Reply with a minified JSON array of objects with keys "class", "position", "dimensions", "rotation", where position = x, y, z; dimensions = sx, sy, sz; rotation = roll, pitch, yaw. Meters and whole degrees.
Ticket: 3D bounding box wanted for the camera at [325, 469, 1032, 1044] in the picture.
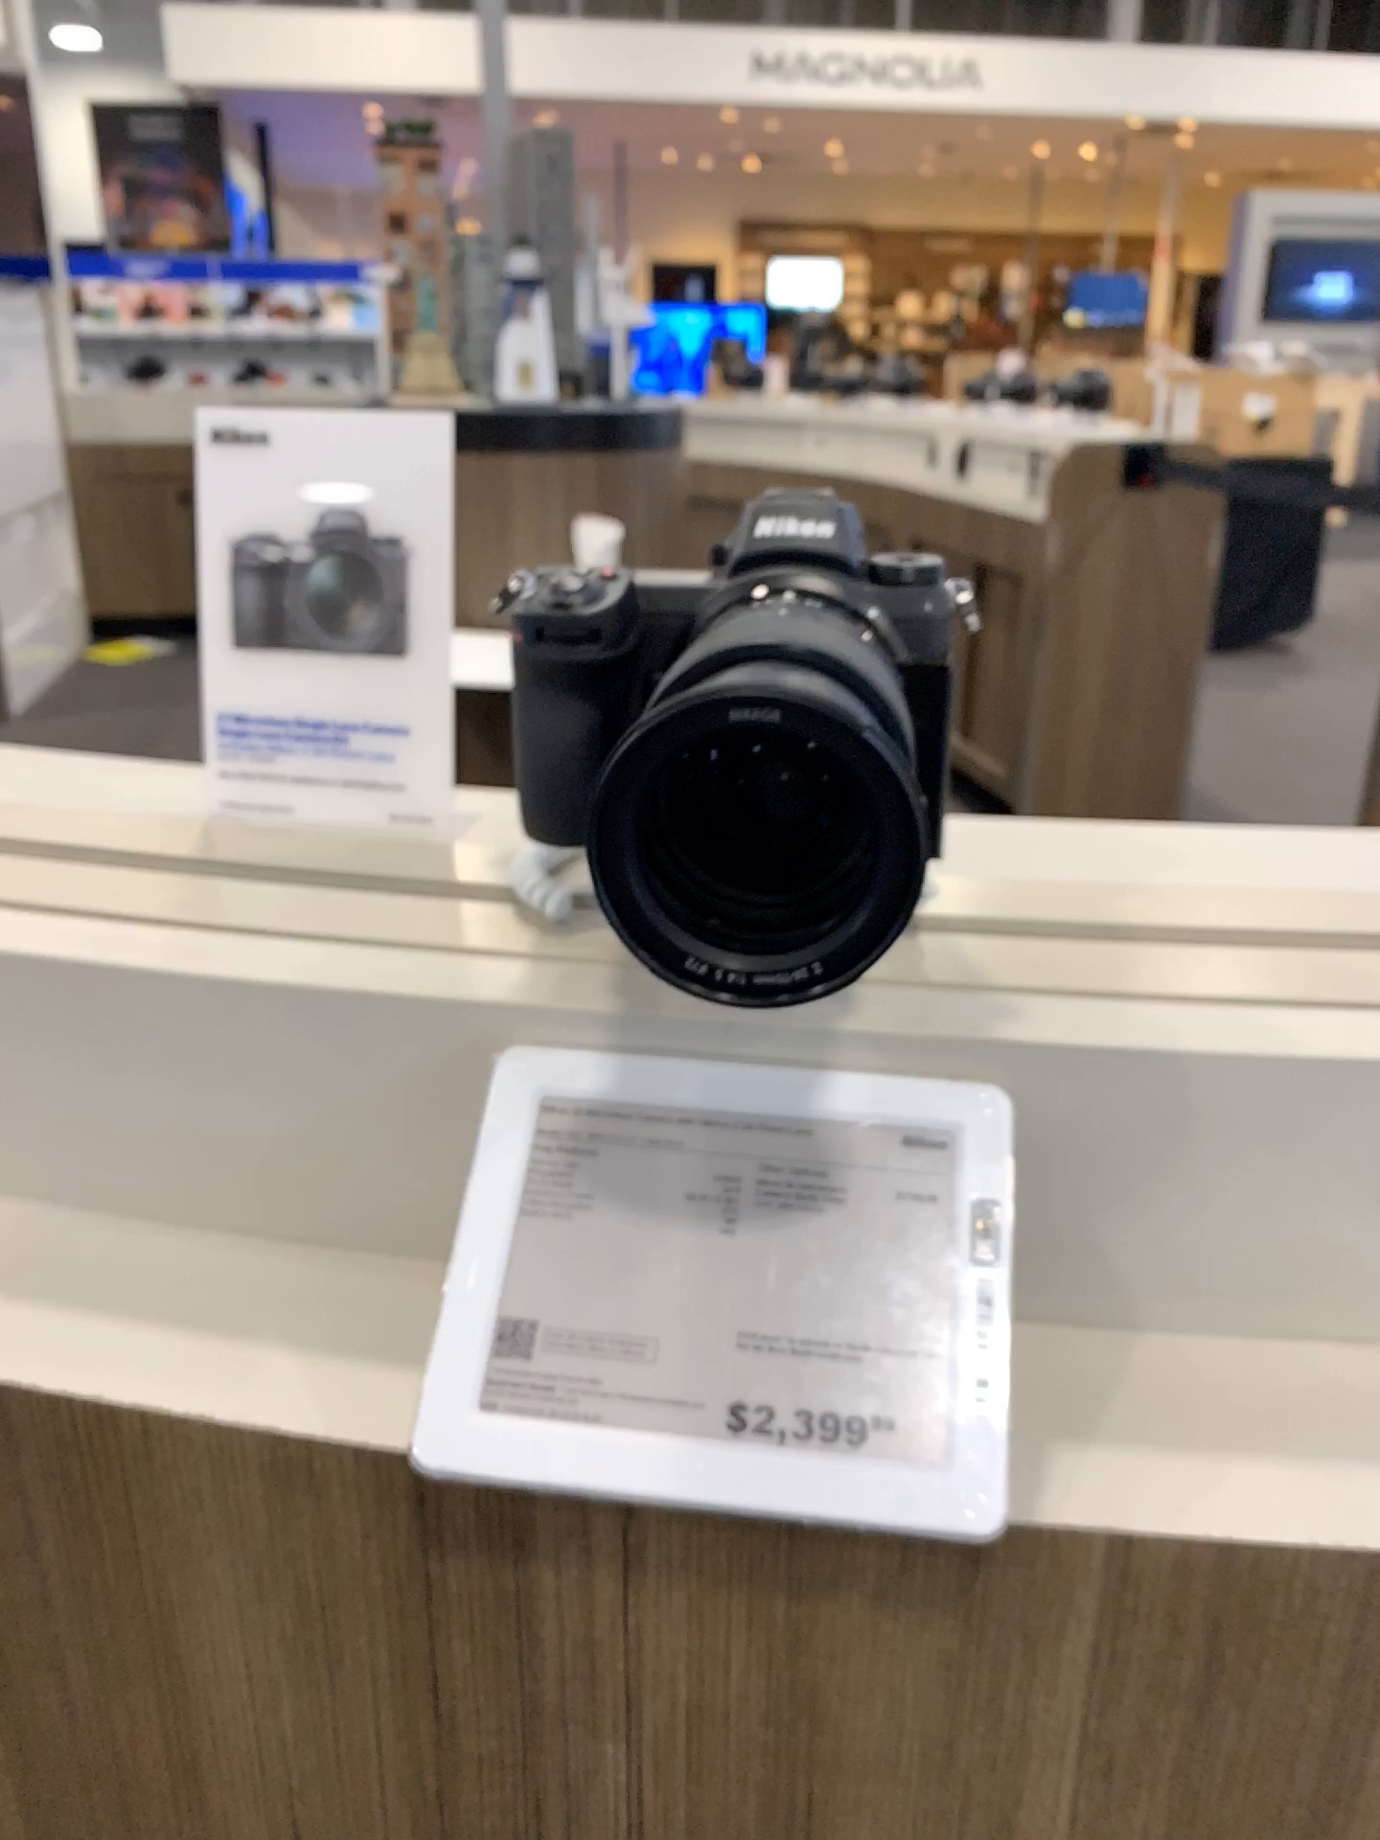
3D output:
[{"class":"camera","position":[0.008,-0.062,0.399],"dimensions":[0.140,0.099,0.211],"rotation":[3,22,6]}]
